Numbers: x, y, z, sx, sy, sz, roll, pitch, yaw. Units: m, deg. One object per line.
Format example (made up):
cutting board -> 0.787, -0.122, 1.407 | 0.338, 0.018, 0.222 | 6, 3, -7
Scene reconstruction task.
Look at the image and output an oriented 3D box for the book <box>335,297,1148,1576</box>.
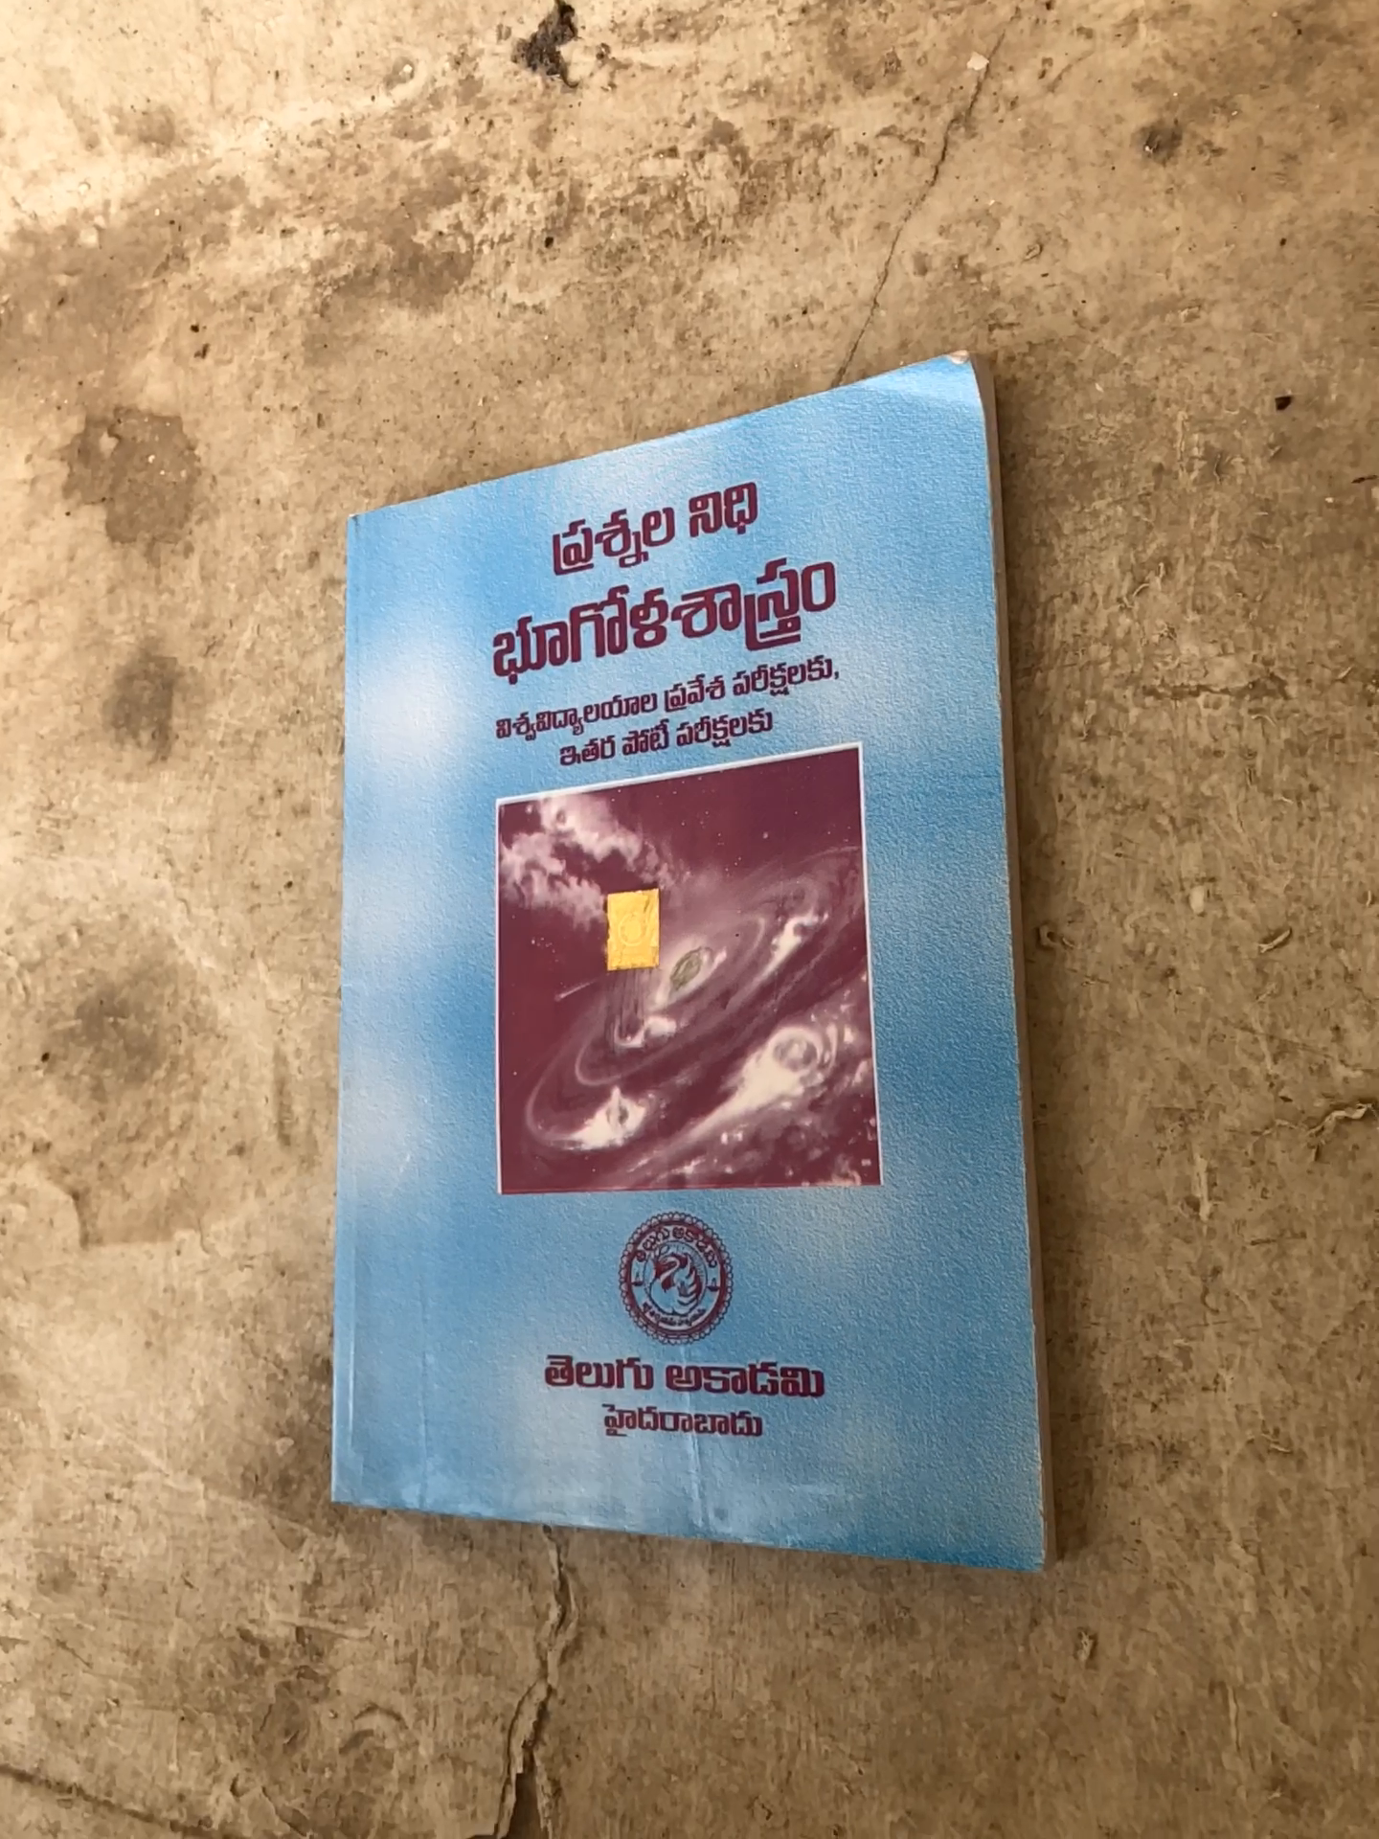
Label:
book -> 0.001, 0.006, 0.378 | 0.190, 0.040, 0.270 | -6, 79, 26
